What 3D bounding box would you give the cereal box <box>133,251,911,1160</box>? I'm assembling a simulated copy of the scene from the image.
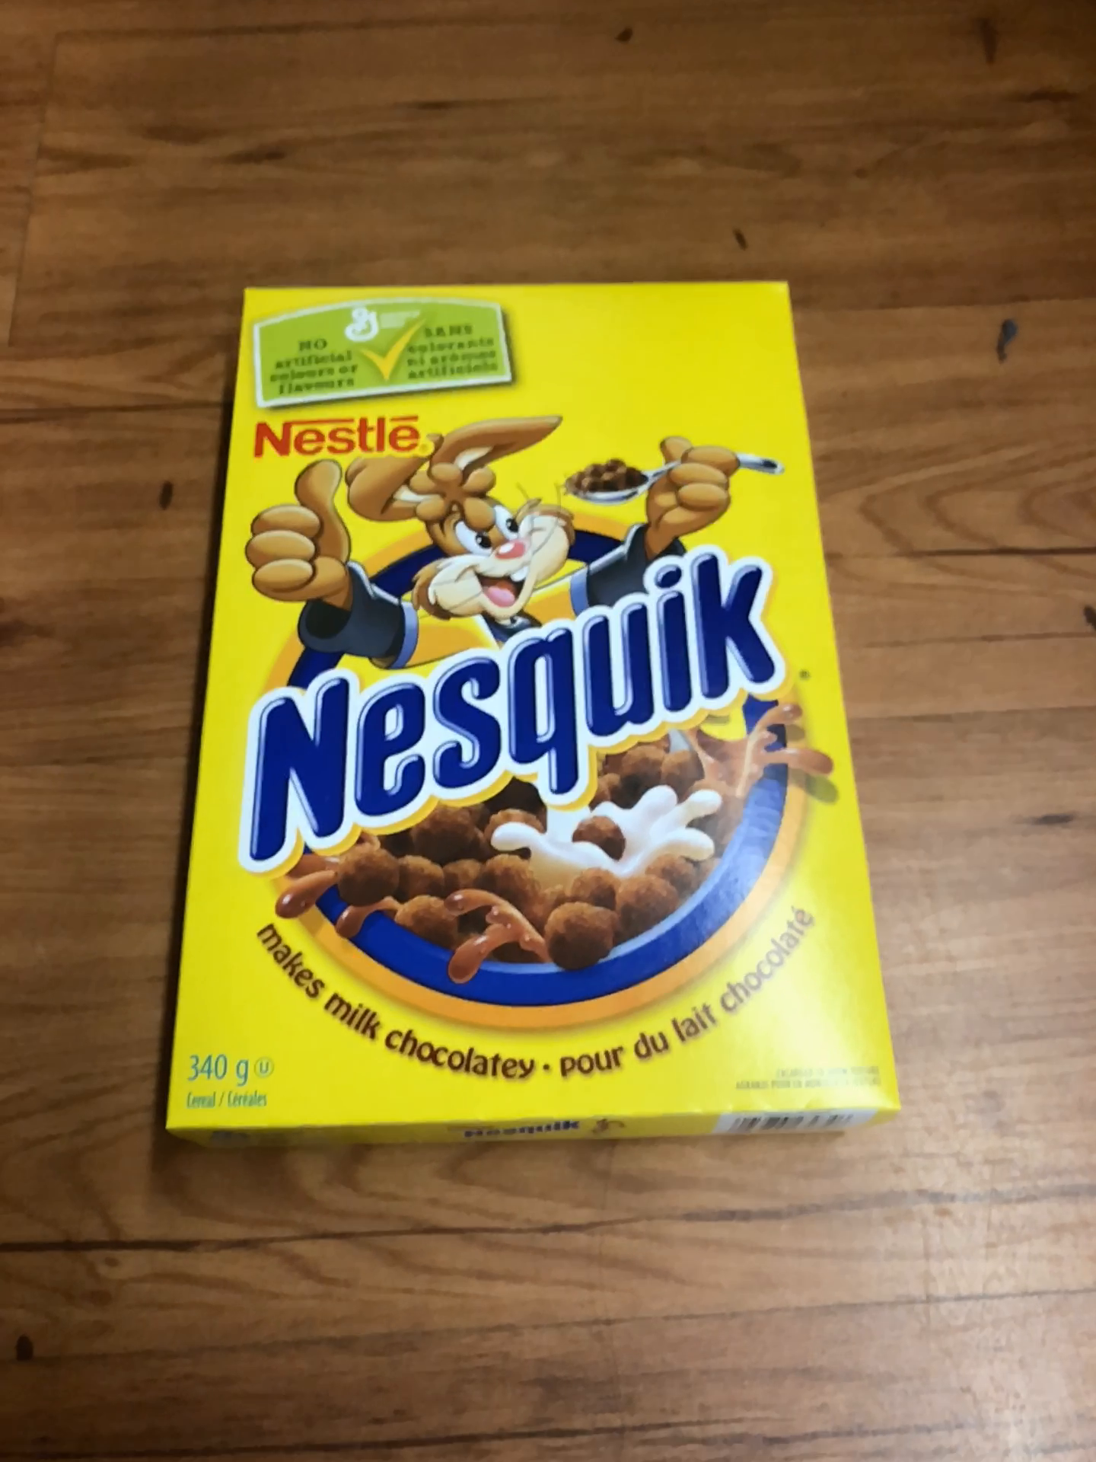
[{"bbox_3d":[-0.011,-0.019,0.397,0.200,0.060,0.291,-2,67,-1],"label":"cereal box"}]
